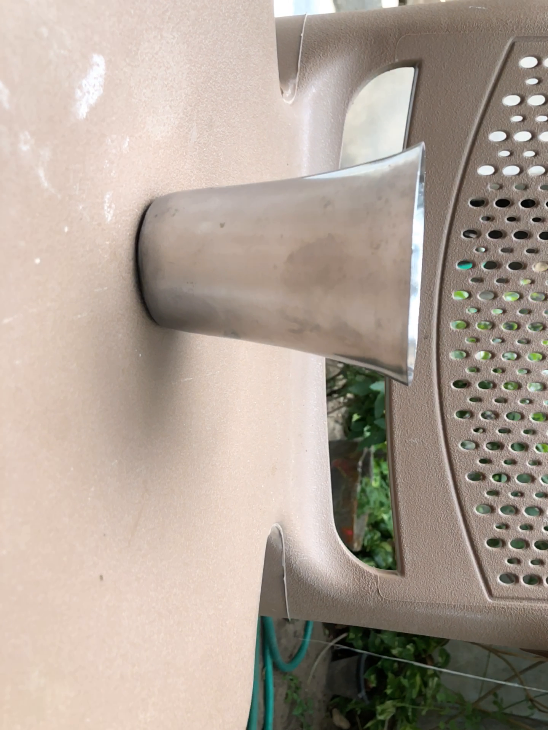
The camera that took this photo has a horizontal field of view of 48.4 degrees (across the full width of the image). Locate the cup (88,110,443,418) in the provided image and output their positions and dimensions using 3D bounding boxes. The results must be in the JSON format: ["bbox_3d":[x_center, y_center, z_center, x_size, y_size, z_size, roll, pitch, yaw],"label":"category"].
[{"bbox_3d":[0.007,-0.036,0.224,0.070,0.099,0.080,73,26,-43],"label":"cup"}]
